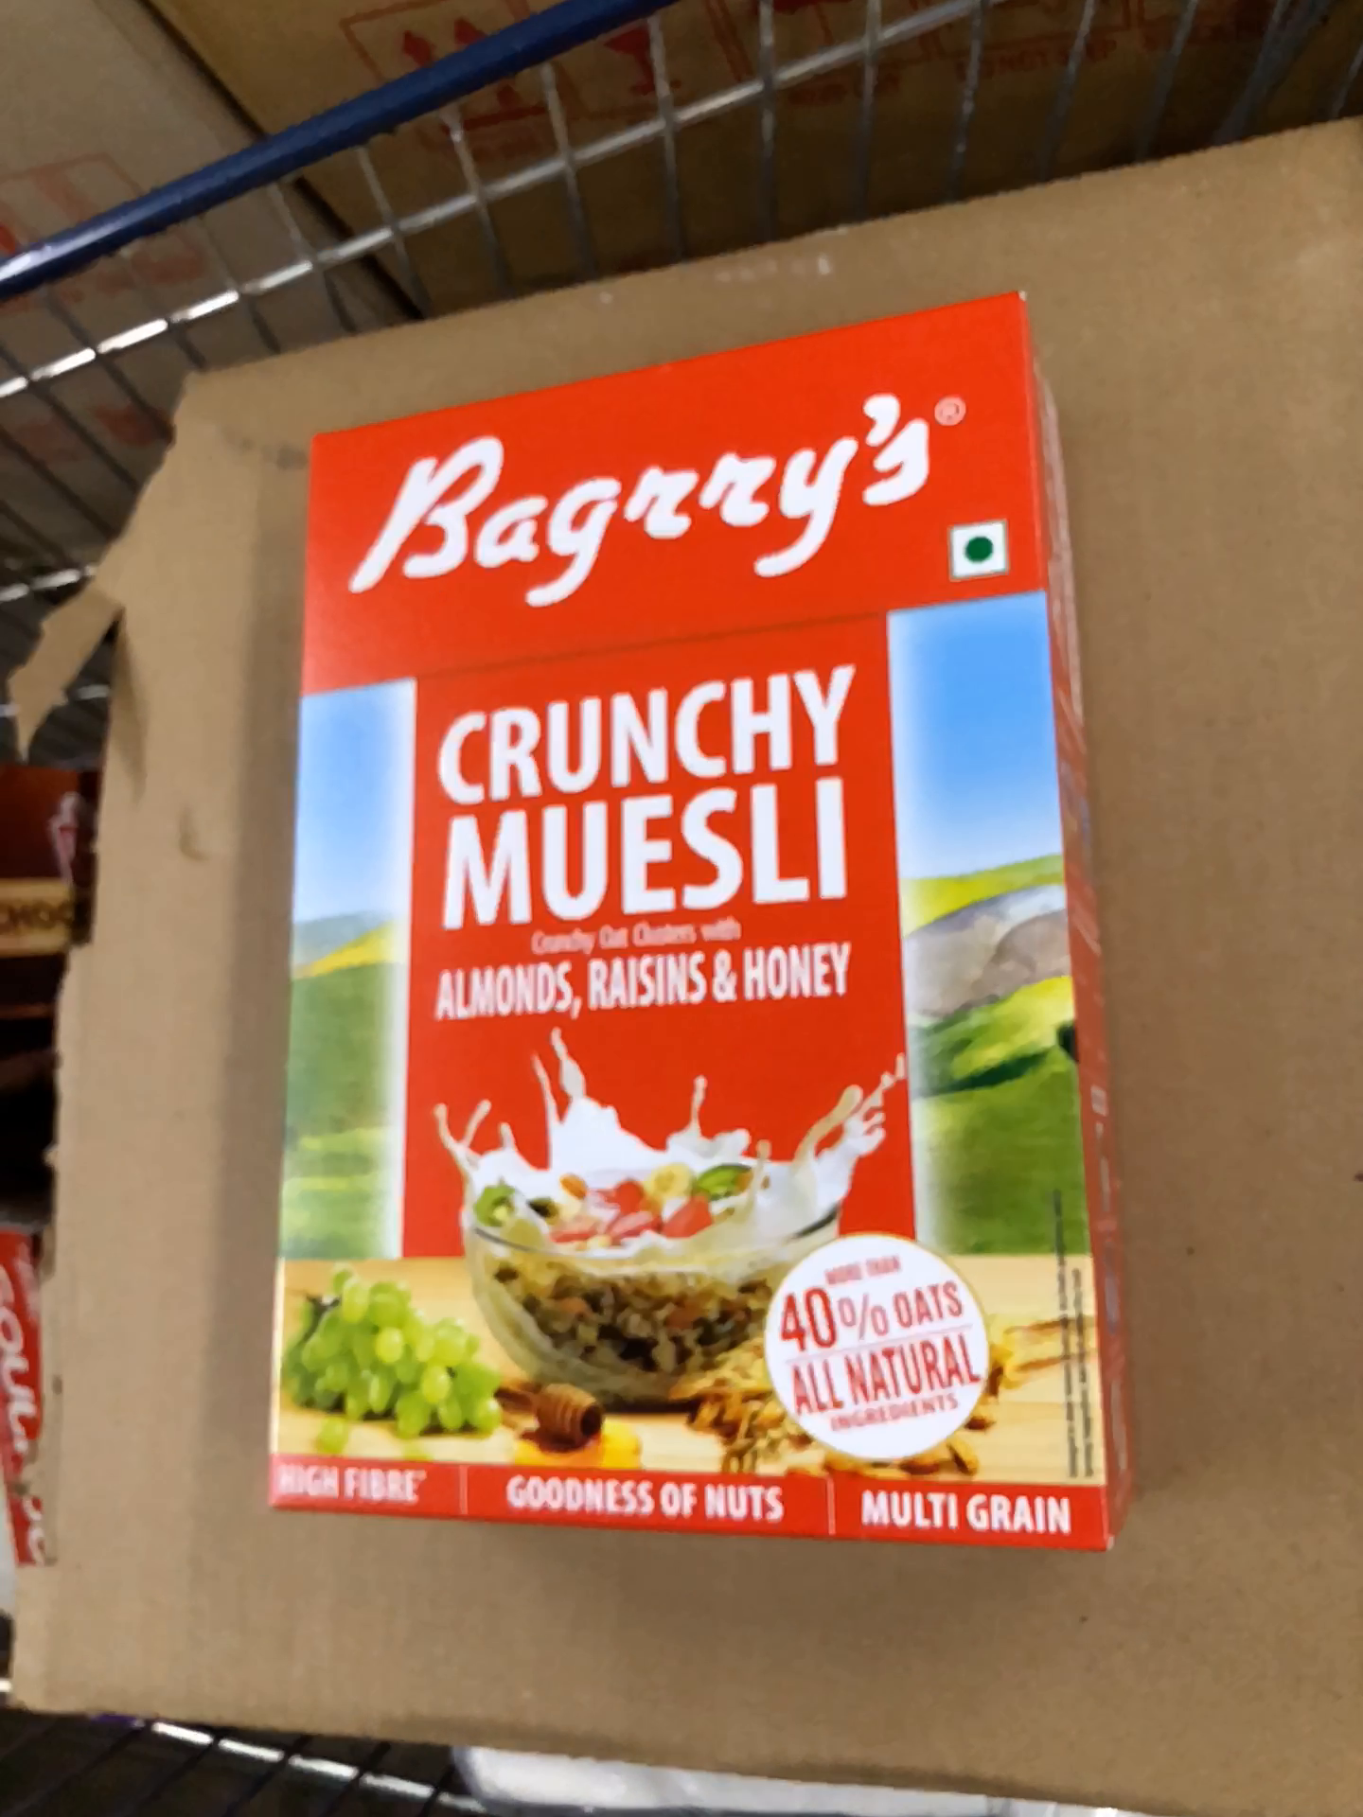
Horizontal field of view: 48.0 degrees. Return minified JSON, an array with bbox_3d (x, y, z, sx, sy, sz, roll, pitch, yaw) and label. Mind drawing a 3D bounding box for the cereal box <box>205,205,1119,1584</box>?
[{"bbox_3d":[-0.007,0.000,0.346,0.180,0.070,0.260,-5,79,20],"label":"cereal box"}]
